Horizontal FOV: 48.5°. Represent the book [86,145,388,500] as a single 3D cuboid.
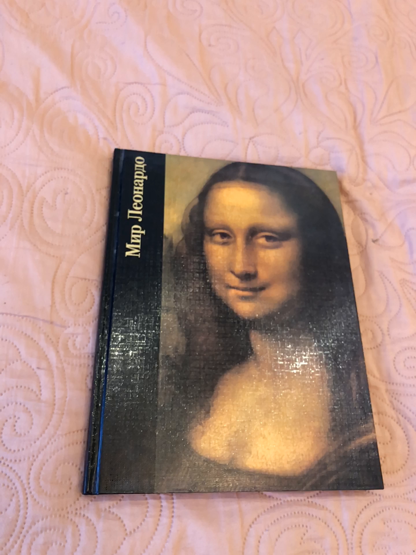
[{"bbox_3d":[0.021,0.025,0.376,0.210,0.030,0.273,3,68,-11],"label":"book"}]
